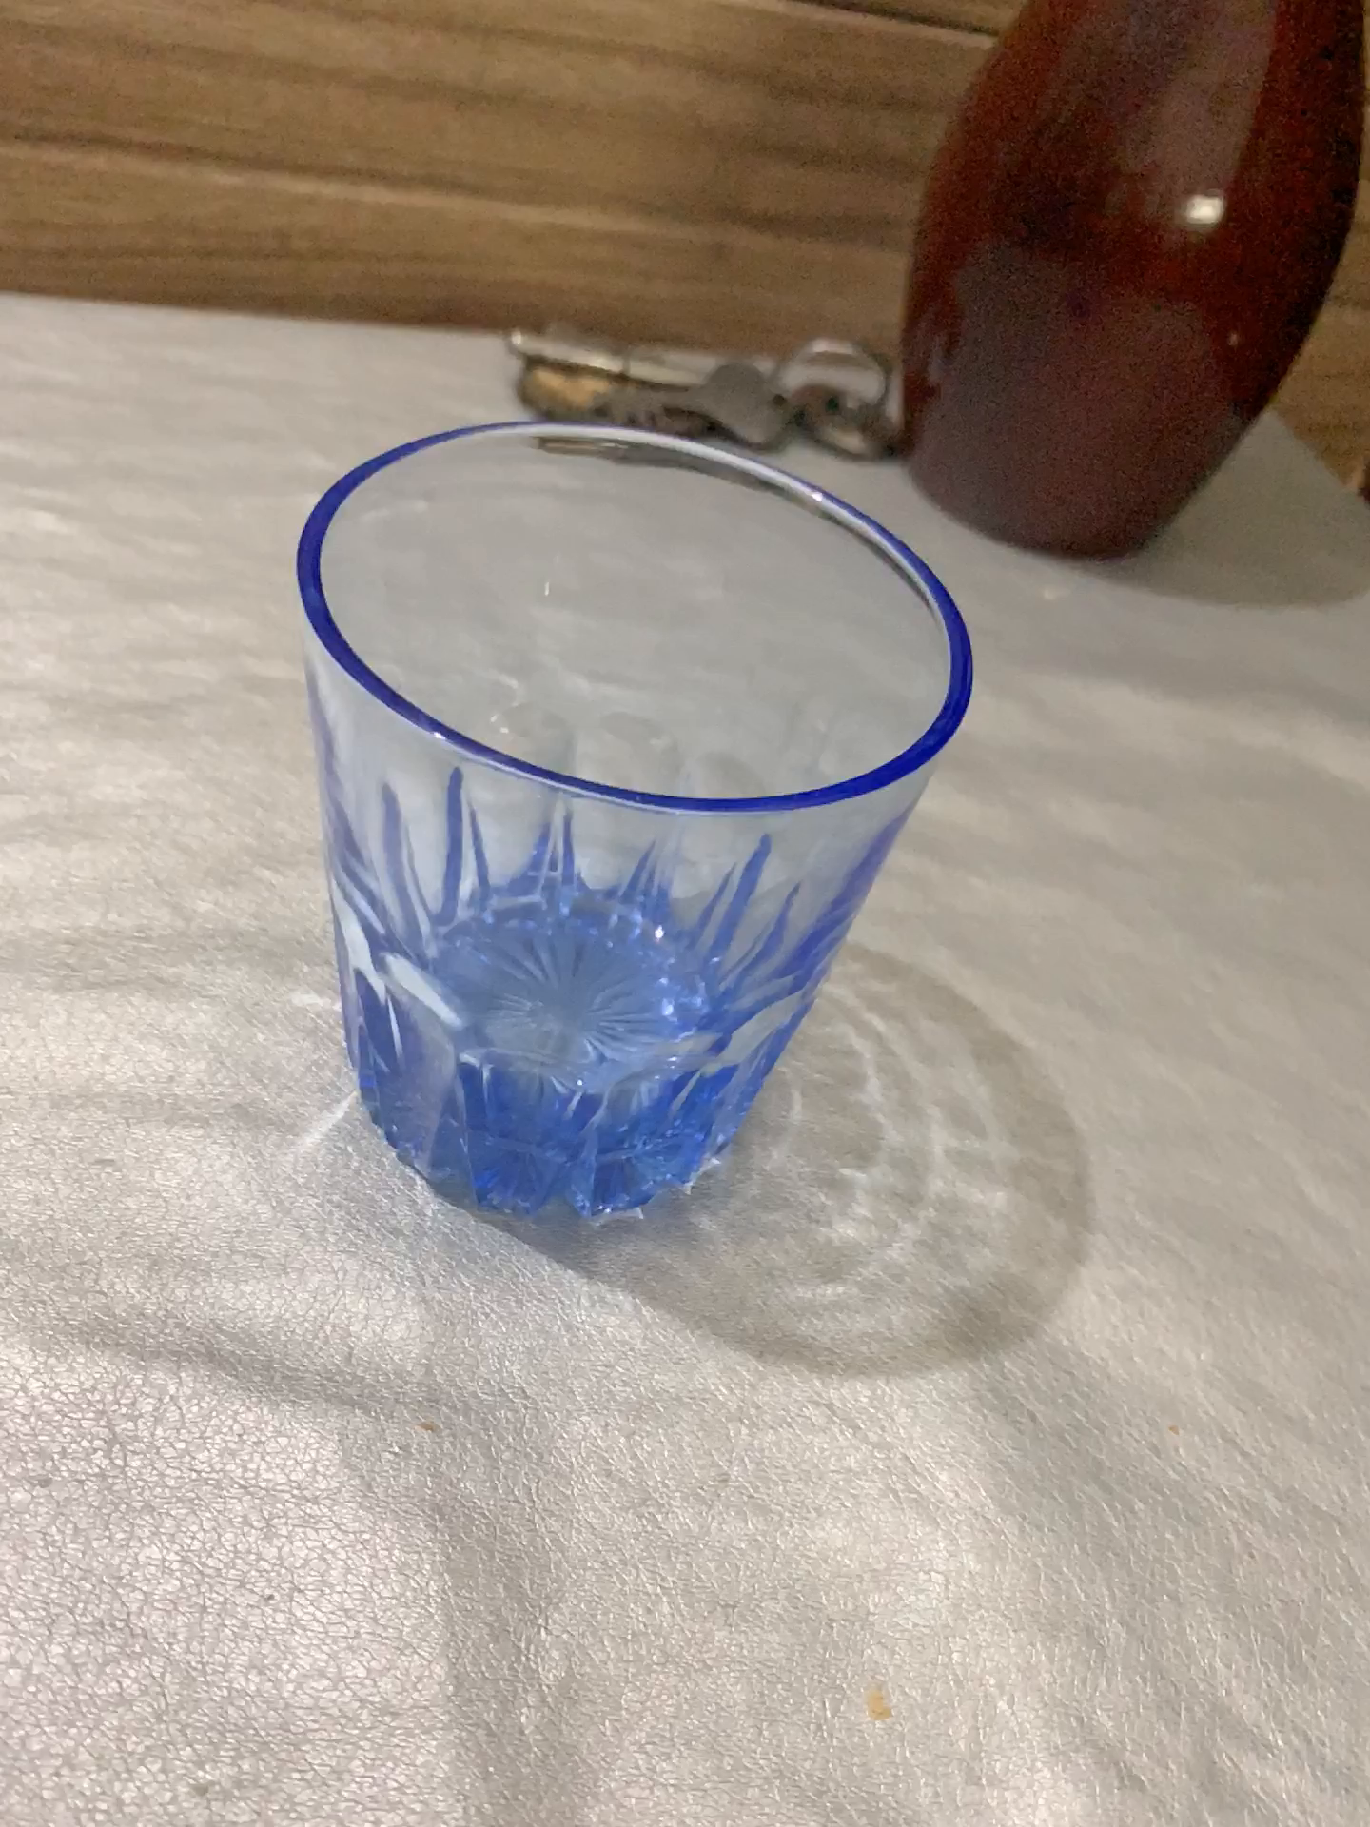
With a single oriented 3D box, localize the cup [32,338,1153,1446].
[{"bbox_3d":[-0.009,-0.009,0.182,0.090,0.070,0.090,8,45,-8],"label":"cup"}]
